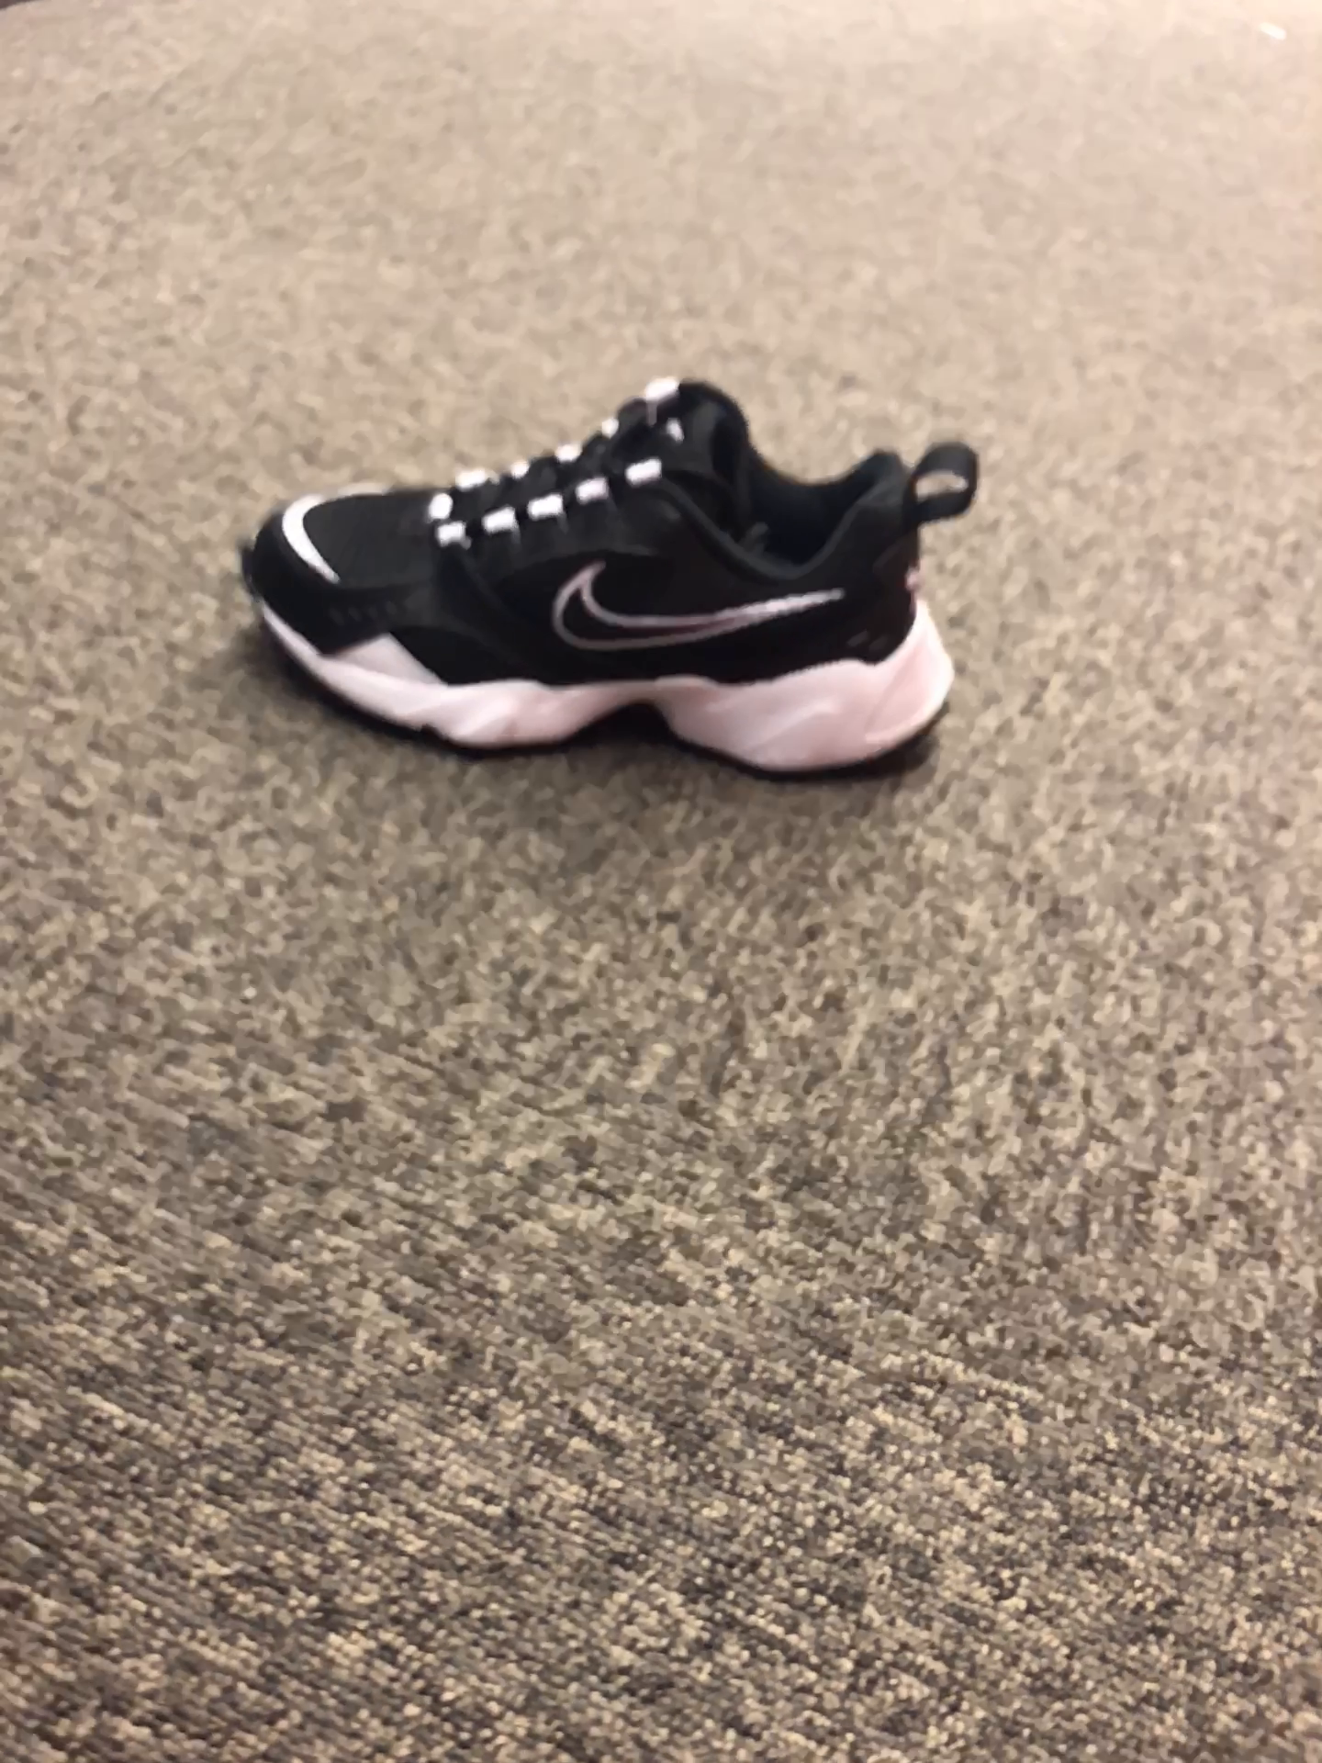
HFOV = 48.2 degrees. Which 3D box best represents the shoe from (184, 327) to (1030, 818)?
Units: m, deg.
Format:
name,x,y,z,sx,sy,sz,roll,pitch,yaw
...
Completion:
name,x,y,z,sx,sy,sz,roll,pitch,yaw
shoe,-0.014,-0.111,0.525,0.260,0.109,0.105,6,42,4
